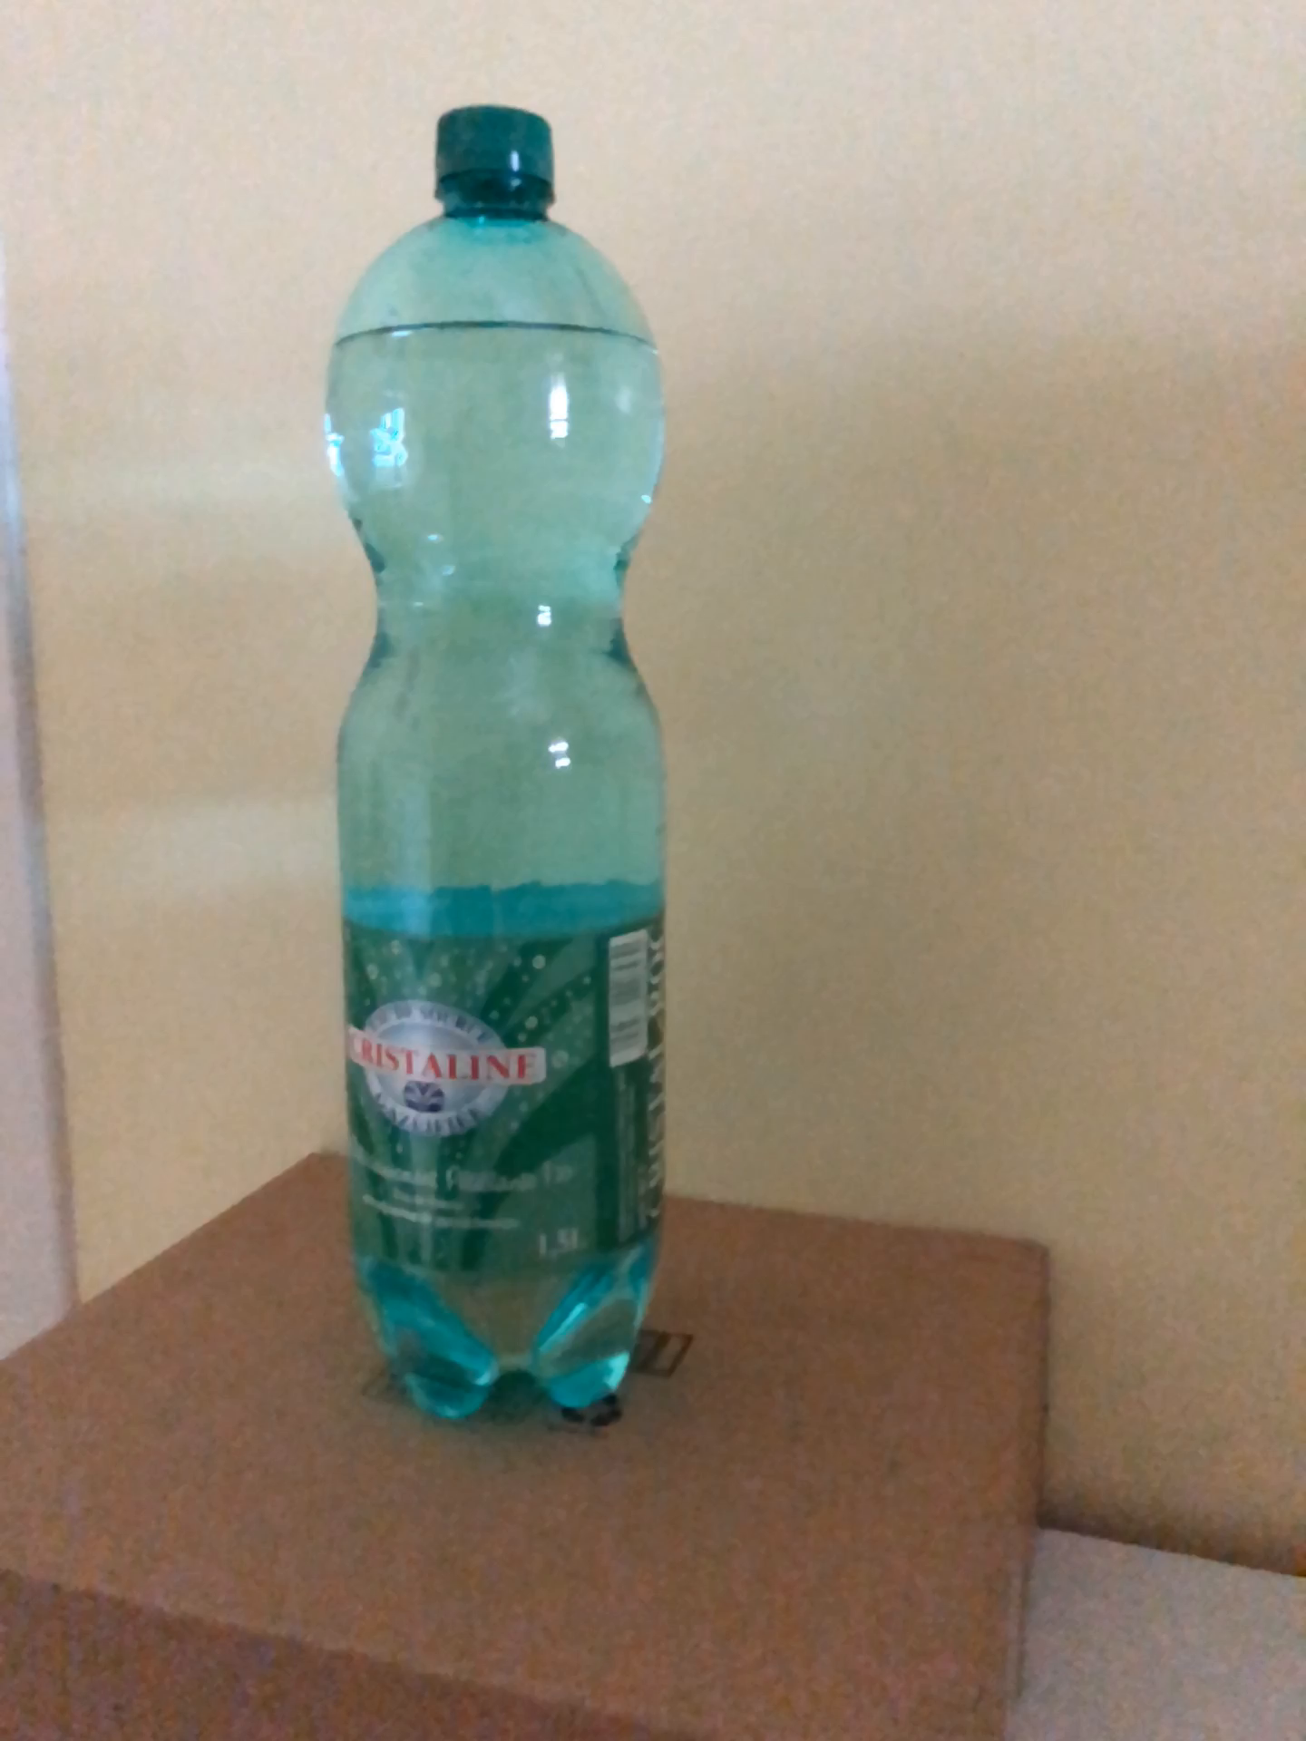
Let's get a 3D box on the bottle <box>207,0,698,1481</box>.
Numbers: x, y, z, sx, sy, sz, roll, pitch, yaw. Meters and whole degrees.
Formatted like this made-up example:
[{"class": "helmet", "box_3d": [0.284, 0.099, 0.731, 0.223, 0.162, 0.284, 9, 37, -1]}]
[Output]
[{"class": "bottle", "box_3d": [-0.046, -0.026, 0.380, 0.090, 0.339, 0.080, 4, 10, 24]}]
